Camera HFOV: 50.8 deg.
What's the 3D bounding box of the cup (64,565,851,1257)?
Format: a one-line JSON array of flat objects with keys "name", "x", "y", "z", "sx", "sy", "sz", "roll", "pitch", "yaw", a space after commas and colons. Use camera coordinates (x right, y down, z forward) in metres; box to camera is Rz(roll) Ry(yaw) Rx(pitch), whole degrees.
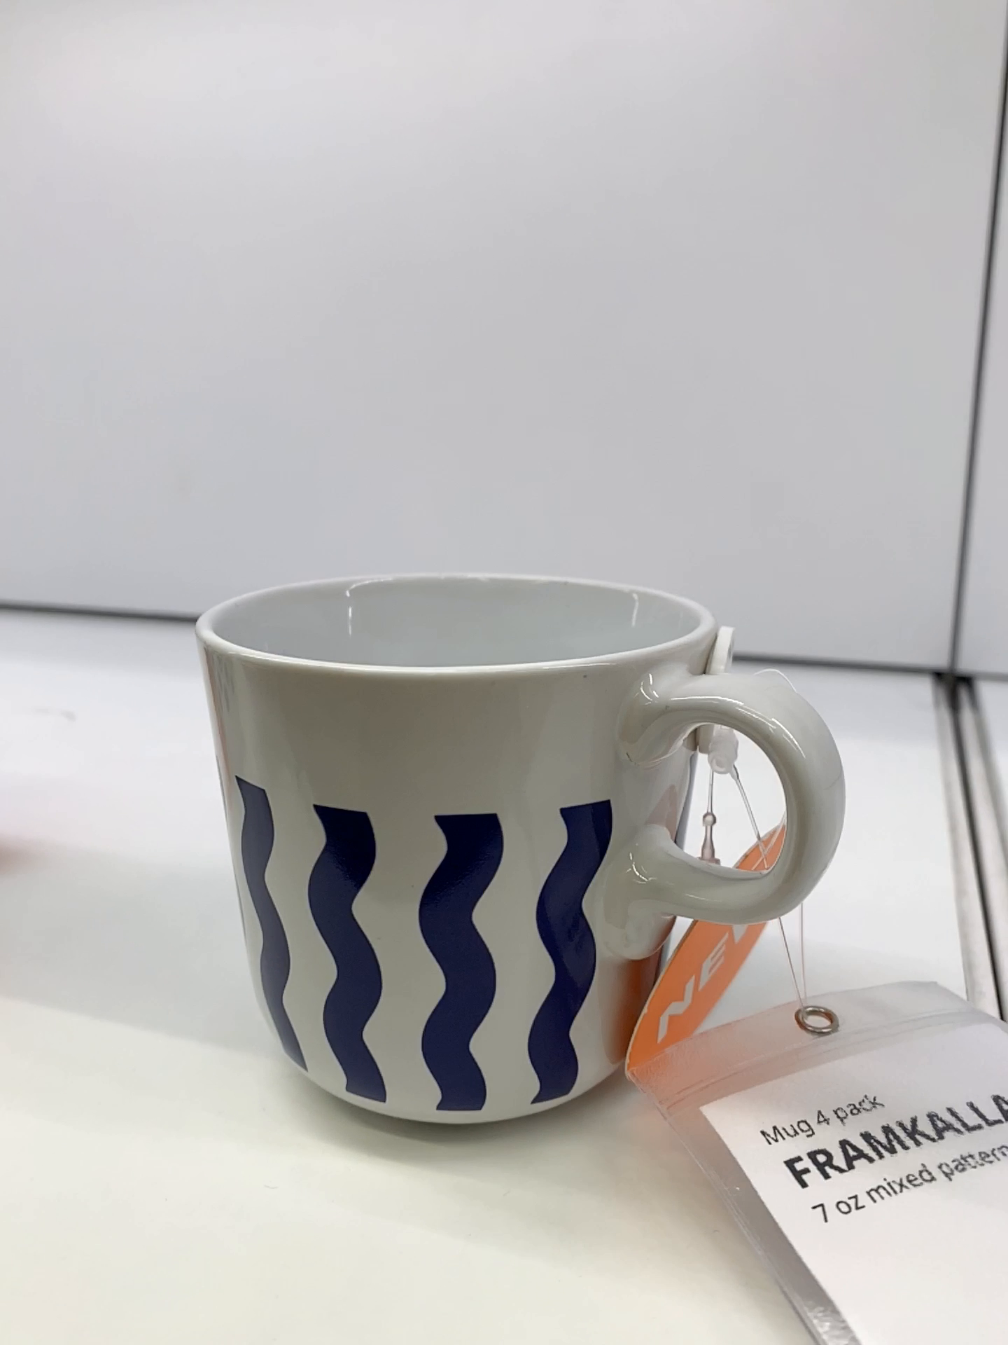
[{"name": "cup", "x": 0.000, "y": 0.024, "z": 0.173, "sx": 0.101, "sy": 0.071, "sz": 0.076, "roll": 4, "pitch": 13, "yaw": 20}]
